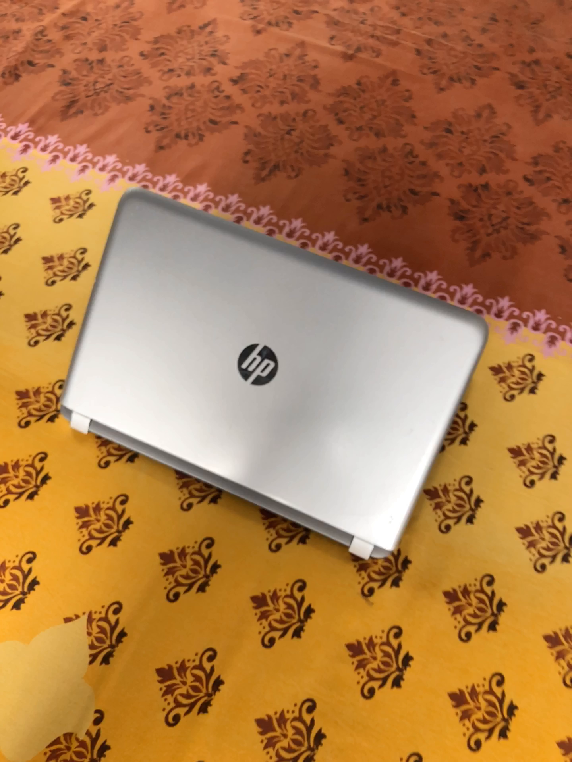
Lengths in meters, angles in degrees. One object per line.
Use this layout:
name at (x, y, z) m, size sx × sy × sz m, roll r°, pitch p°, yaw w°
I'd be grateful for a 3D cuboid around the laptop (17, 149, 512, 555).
laptop at (-0.015, -0.034, 0.641) m, size 0.372 × 0.155 × 0.249 m, roll 23°, pitch 65°, yaw 10°
